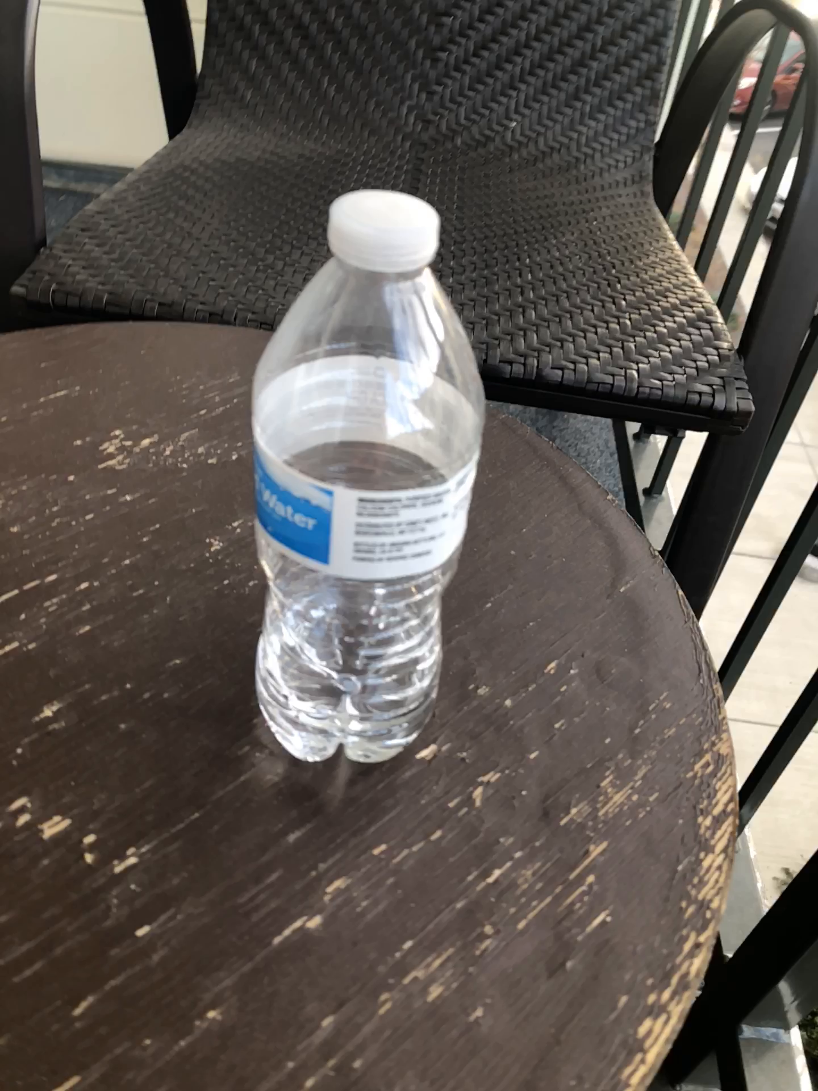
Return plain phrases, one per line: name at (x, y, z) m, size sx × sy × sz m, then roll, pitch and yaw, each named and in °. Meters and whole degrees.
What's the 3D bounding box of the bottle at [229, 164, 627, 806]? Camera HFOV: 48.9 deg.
bottle at (-0.008, -0.010, 0.284) m, size 0.080 × 0.189 × 0.075 m, roll 4°, pitch 42°, yaw -4°
